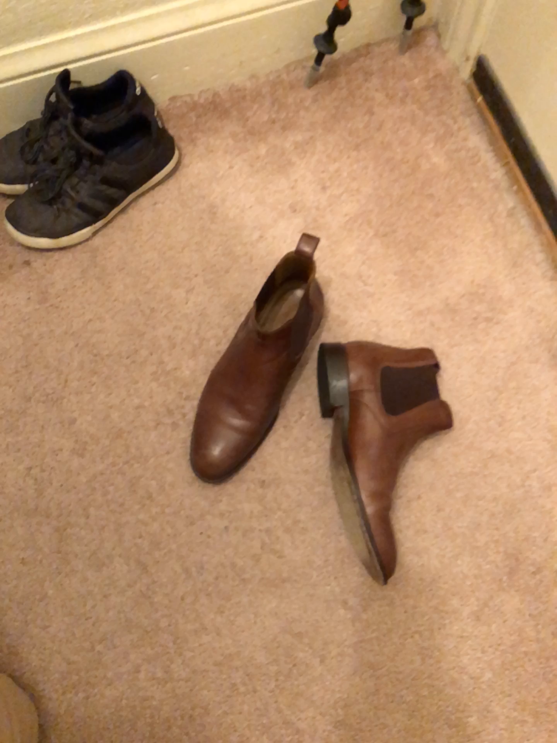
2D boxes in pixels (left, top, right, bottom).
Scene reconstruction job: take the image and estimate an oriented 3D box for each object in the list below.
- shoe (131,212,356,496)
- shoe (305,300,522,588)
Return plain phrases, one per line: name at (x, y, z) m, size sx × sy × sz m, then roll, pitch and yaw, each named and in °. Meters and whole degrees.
shoe at (-0.031, -0.014, 0.747) m, size 0.109 × 0.159 × 0.296 m, roll 29°, pitch 77°, yaw 10°
shoe at (0.147, 0.086, 0.745) m, size 0.169 × 0.119 × 0.296 m, roll -11°, pitch 75°, yaw -2°
